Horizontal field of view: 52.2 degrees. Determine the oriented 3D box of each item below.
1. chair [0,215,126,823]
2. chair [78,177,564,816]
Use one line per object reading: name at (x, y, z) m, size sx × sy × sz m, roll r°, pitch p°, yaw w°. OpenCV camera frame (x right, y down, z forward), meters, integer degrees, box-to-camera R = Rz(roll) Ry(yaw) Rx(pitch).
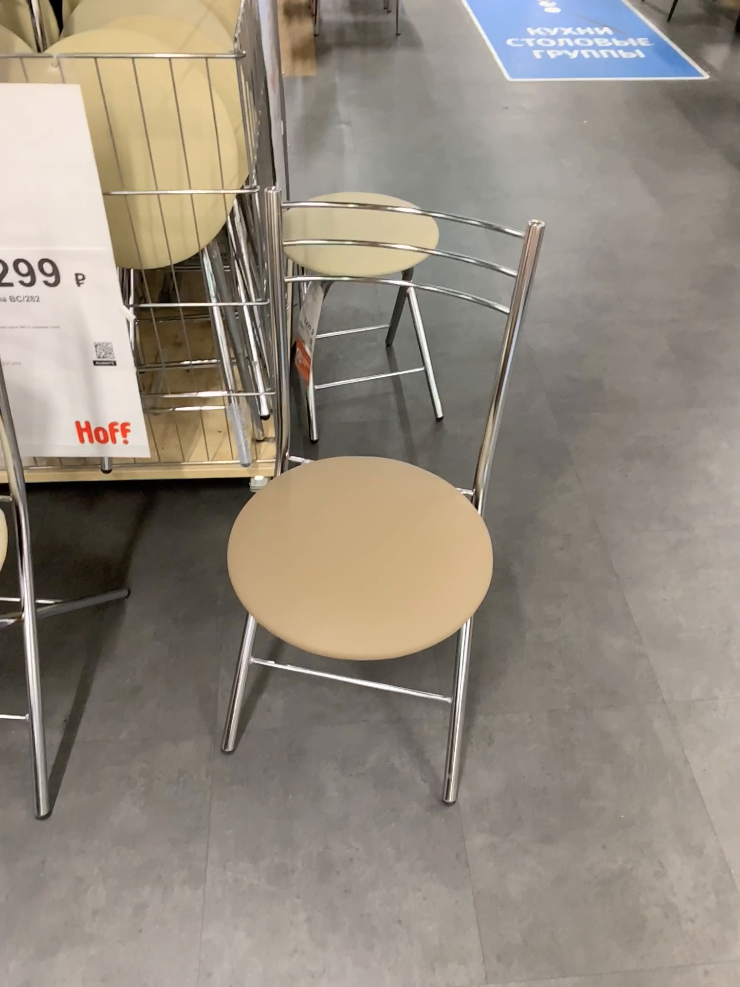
chair at (-0.759, 0.084, 1.106) m, size 0.520 × 0.776 × 0.493 m, roll 1°, pitch 47°, yaw -1°
chair at (-0.016, 0.045, 1.140) m, size 0.440 × 0.796 × 0.493 m, roll 9°, pitch 47°, yaw 7°
